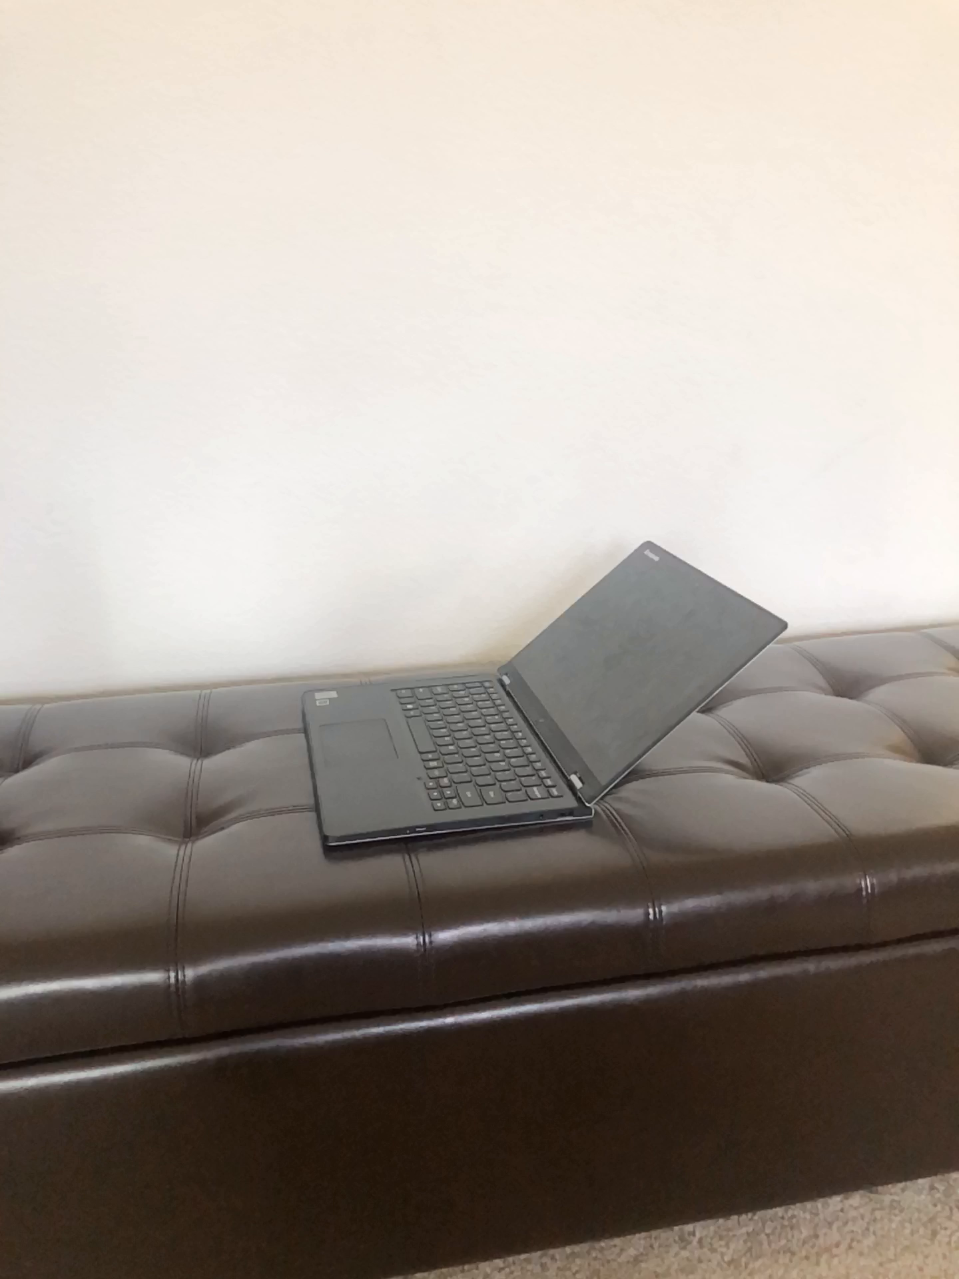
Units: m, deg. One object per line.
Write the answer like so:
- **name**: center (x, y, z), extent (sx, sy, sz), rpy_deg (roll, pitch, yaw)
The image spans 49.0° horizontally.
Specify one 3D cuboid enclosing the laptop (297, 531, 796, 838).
- **laptop**: center (0.030, 0.015, 0.815), extent (0.317, 0.115, 0.262), rpy_deg (-6, 19, -11)
